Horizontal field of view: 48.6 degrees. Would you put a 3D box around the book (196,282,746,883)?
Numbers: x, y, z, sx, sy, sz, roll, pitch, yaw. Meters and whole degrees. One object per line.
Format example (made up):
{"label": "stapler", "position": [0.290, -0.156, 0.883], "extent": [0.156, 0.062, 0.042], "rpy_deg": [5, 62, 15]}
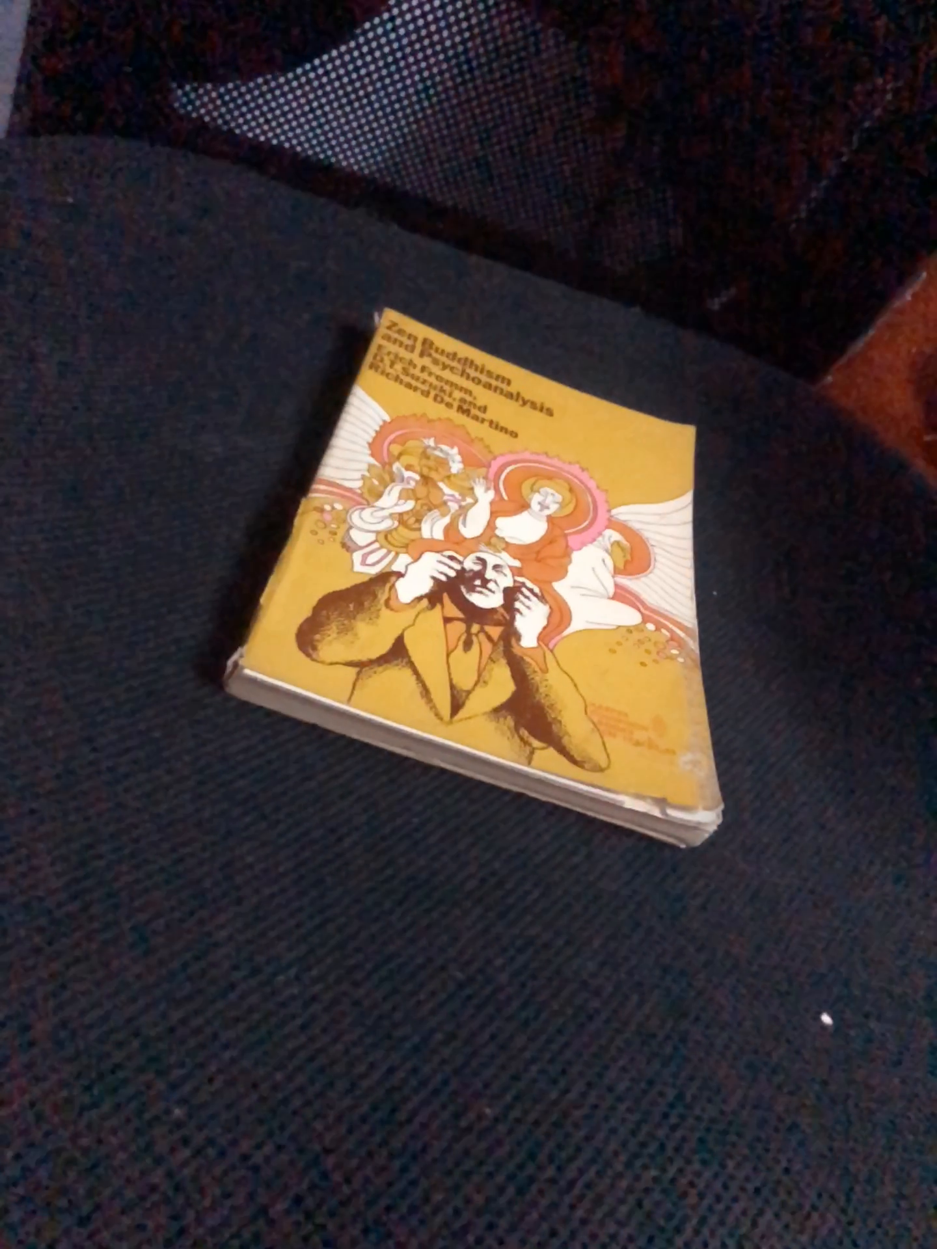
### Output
{"label": "book", "position": [0.011, -0.028, 0.326], "extent": [0.137, 0.020, 0.201], "rpy_deg": [18, 42, -11]}
